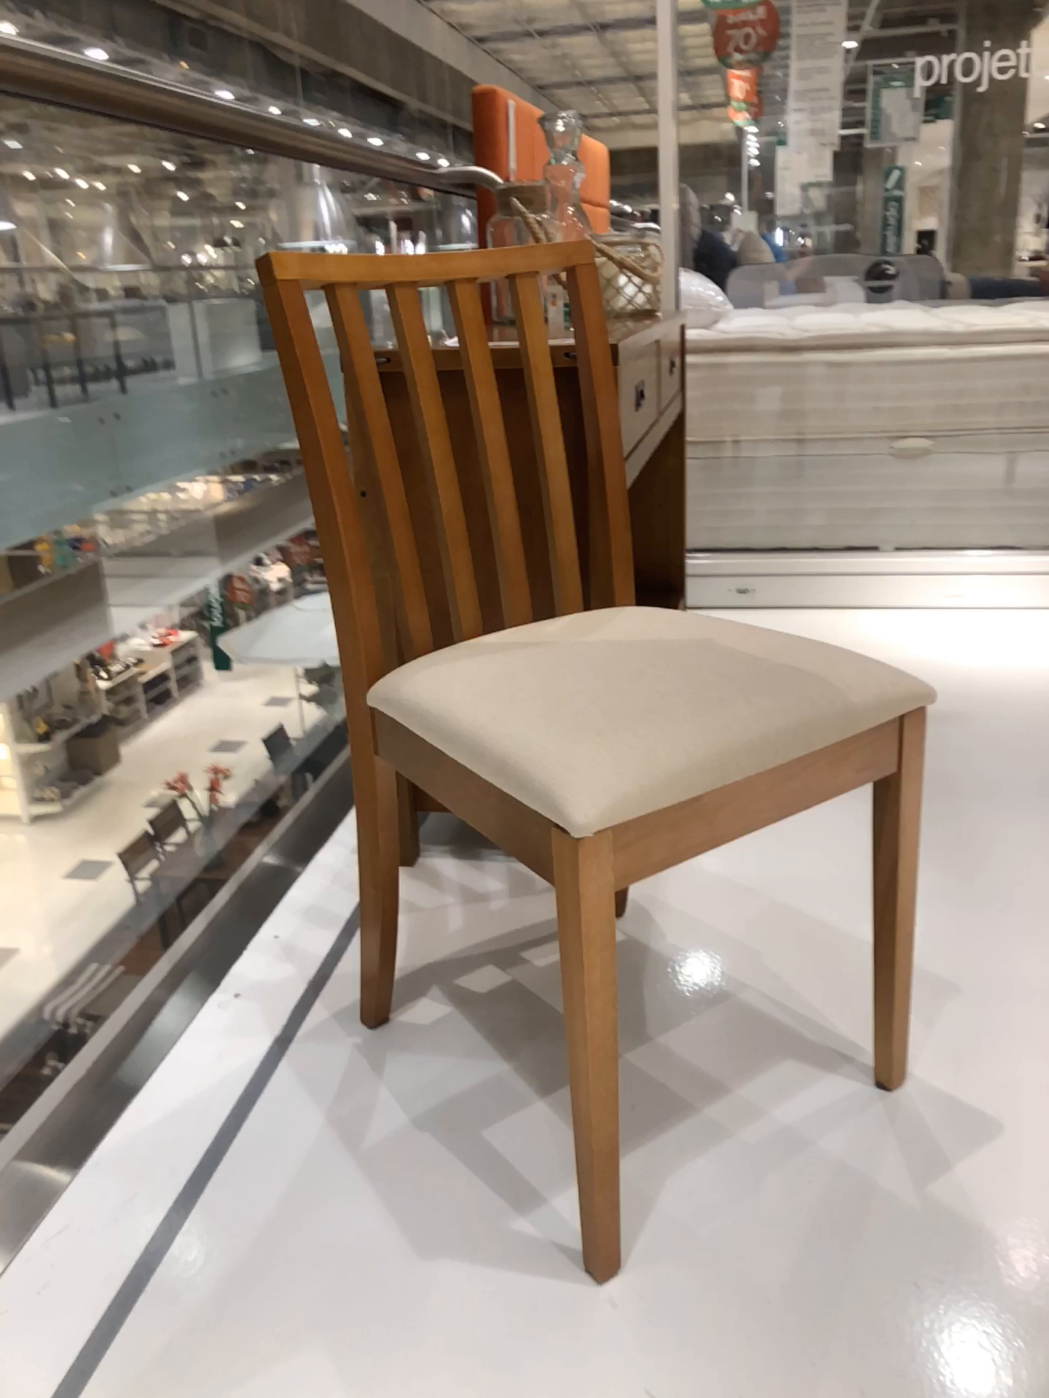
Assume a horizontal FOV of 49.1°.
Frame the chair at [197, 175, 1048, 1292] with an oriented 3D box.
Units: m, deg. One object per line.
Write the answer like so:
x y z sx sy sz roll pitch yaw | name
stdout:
0.093 -0.044 1.161 0.542 0.835 0.552 -17 24 -34 | chair
